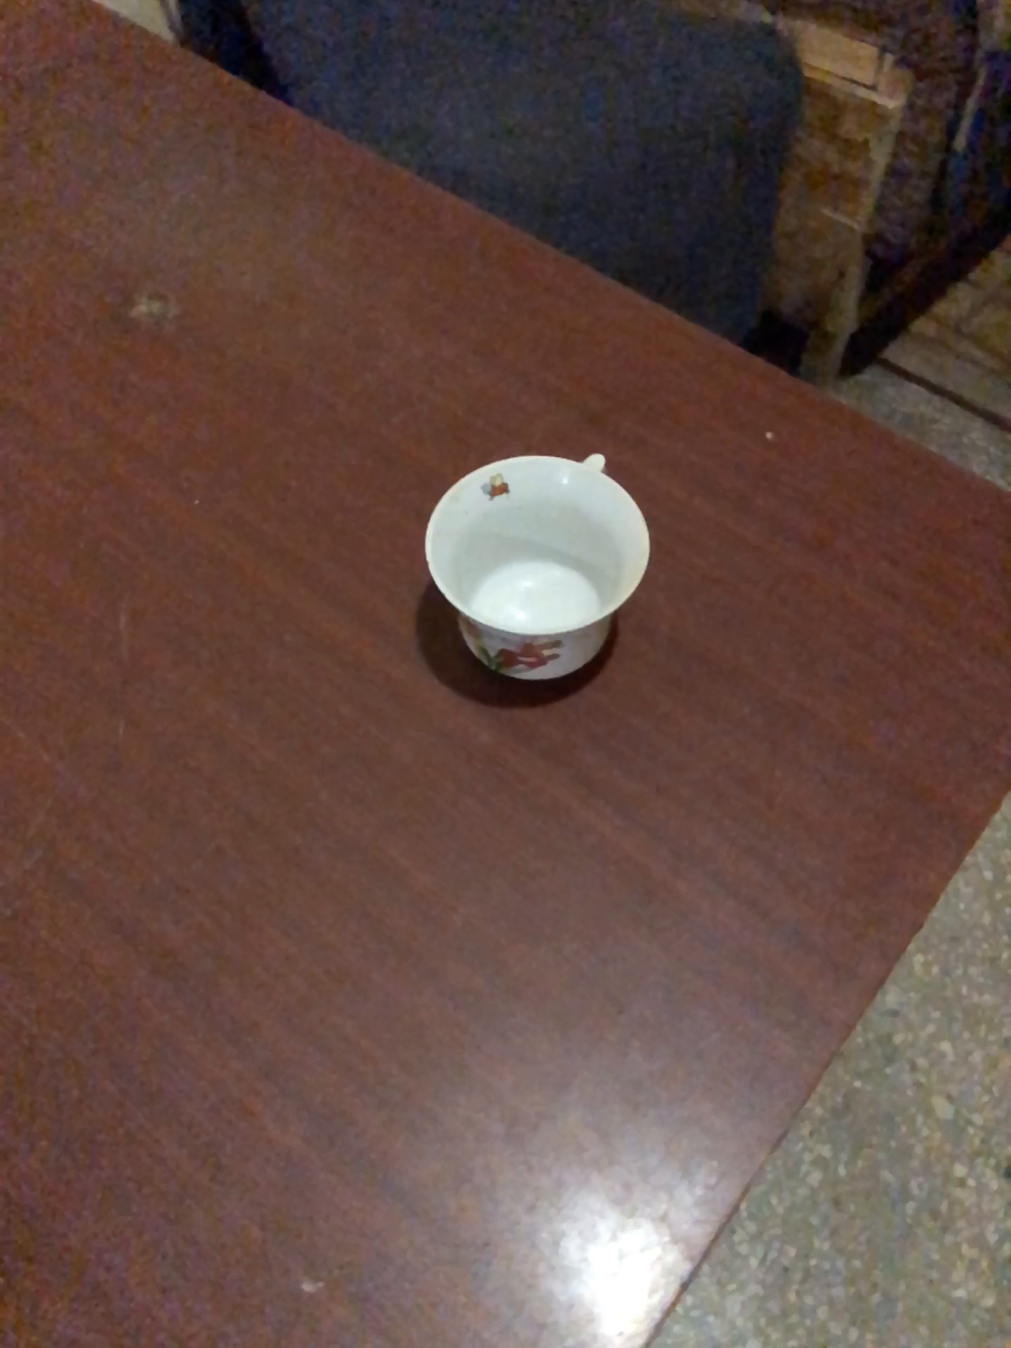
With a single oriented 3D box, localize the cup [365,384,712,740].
[{"bbox_3d":[0.015,-0.050,0.479,0.100,0.059,0.110,27,63,15],"label":"cup"}]
